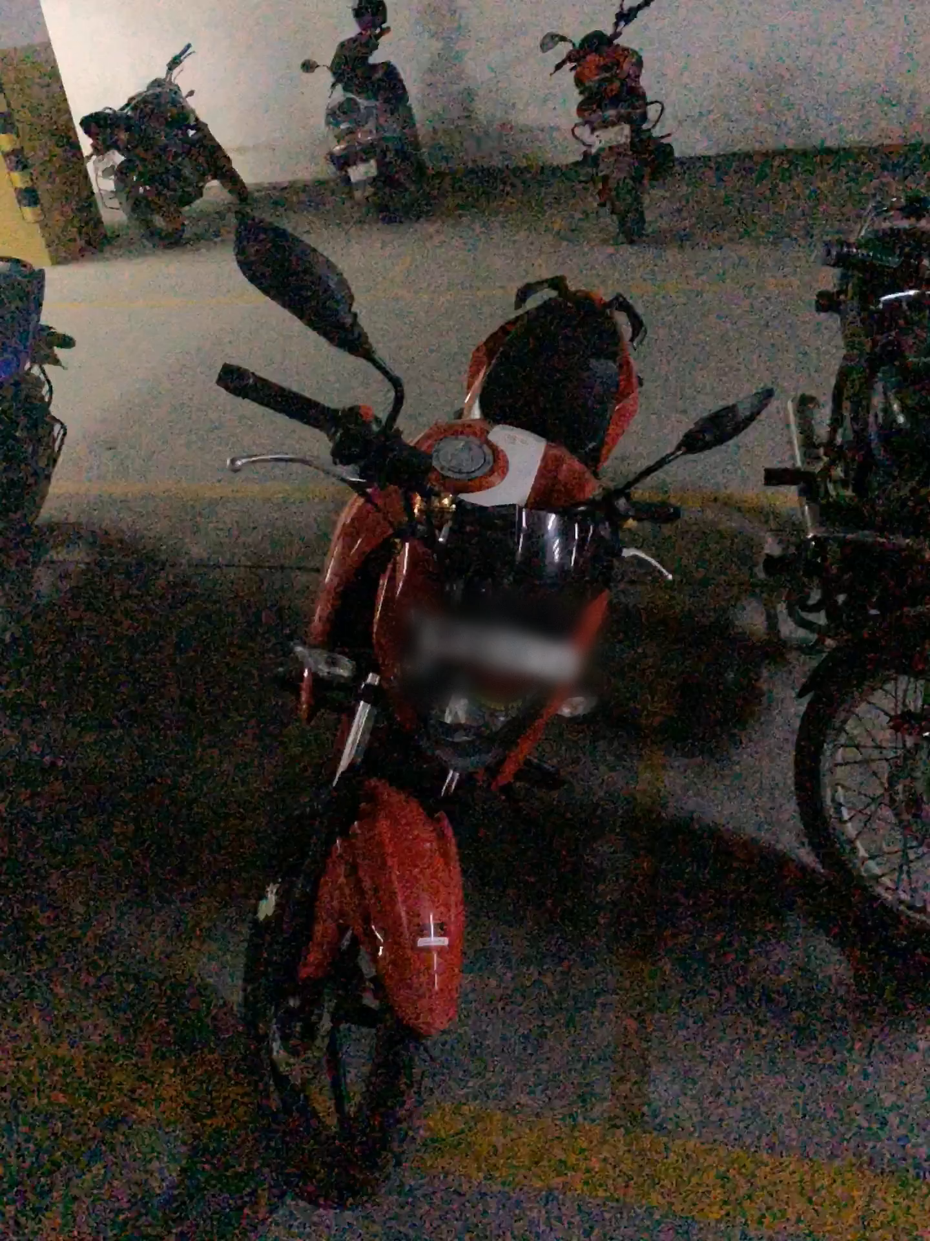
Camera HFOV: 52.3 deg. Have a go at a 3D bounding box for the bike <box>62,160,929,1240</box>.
[{"bbox_3d":[0.174,-0.006,1.695,0.801,1.006,1.701,0,39,9],"label":"bike"}]

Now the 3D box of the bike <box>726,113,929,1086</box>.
[{"bbox_3d":[0.937,-0.230,1.752,0.673,0.934,1.574,1,37,9],"label":"bike"}]
